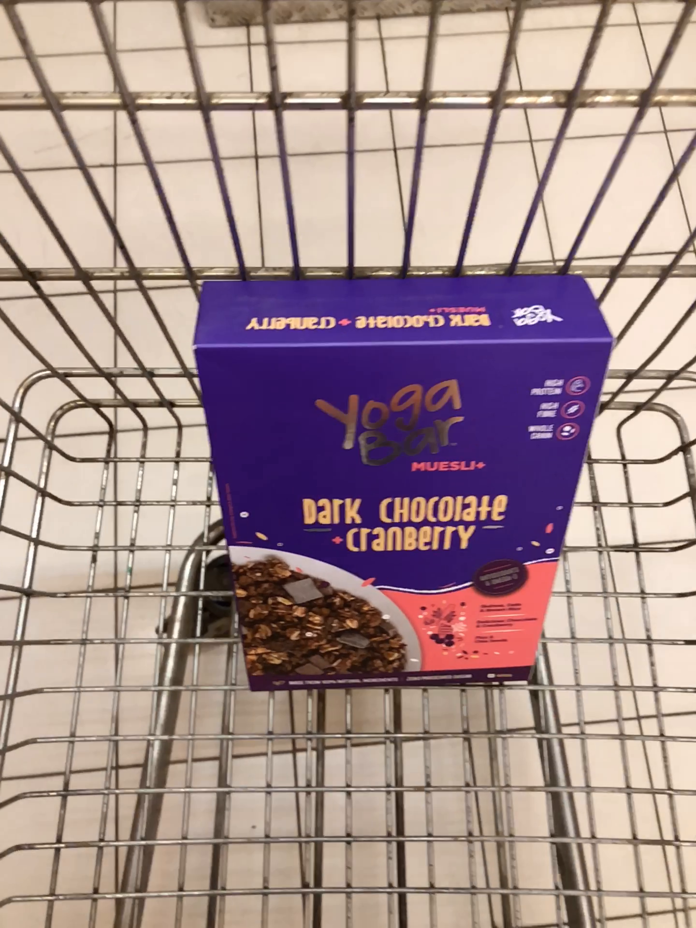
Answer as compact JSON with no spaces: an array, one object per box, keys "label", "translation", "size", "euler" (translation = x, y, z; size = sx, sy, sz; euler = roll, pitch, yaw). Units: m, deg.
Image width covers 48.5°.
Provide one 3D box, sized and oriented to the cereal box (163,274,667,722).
[{"label":"cereal box","translation":[0.025,0.030,0.372],"size":[0.180,0.229,0.060],"euler":[-2,40,-1]}]
